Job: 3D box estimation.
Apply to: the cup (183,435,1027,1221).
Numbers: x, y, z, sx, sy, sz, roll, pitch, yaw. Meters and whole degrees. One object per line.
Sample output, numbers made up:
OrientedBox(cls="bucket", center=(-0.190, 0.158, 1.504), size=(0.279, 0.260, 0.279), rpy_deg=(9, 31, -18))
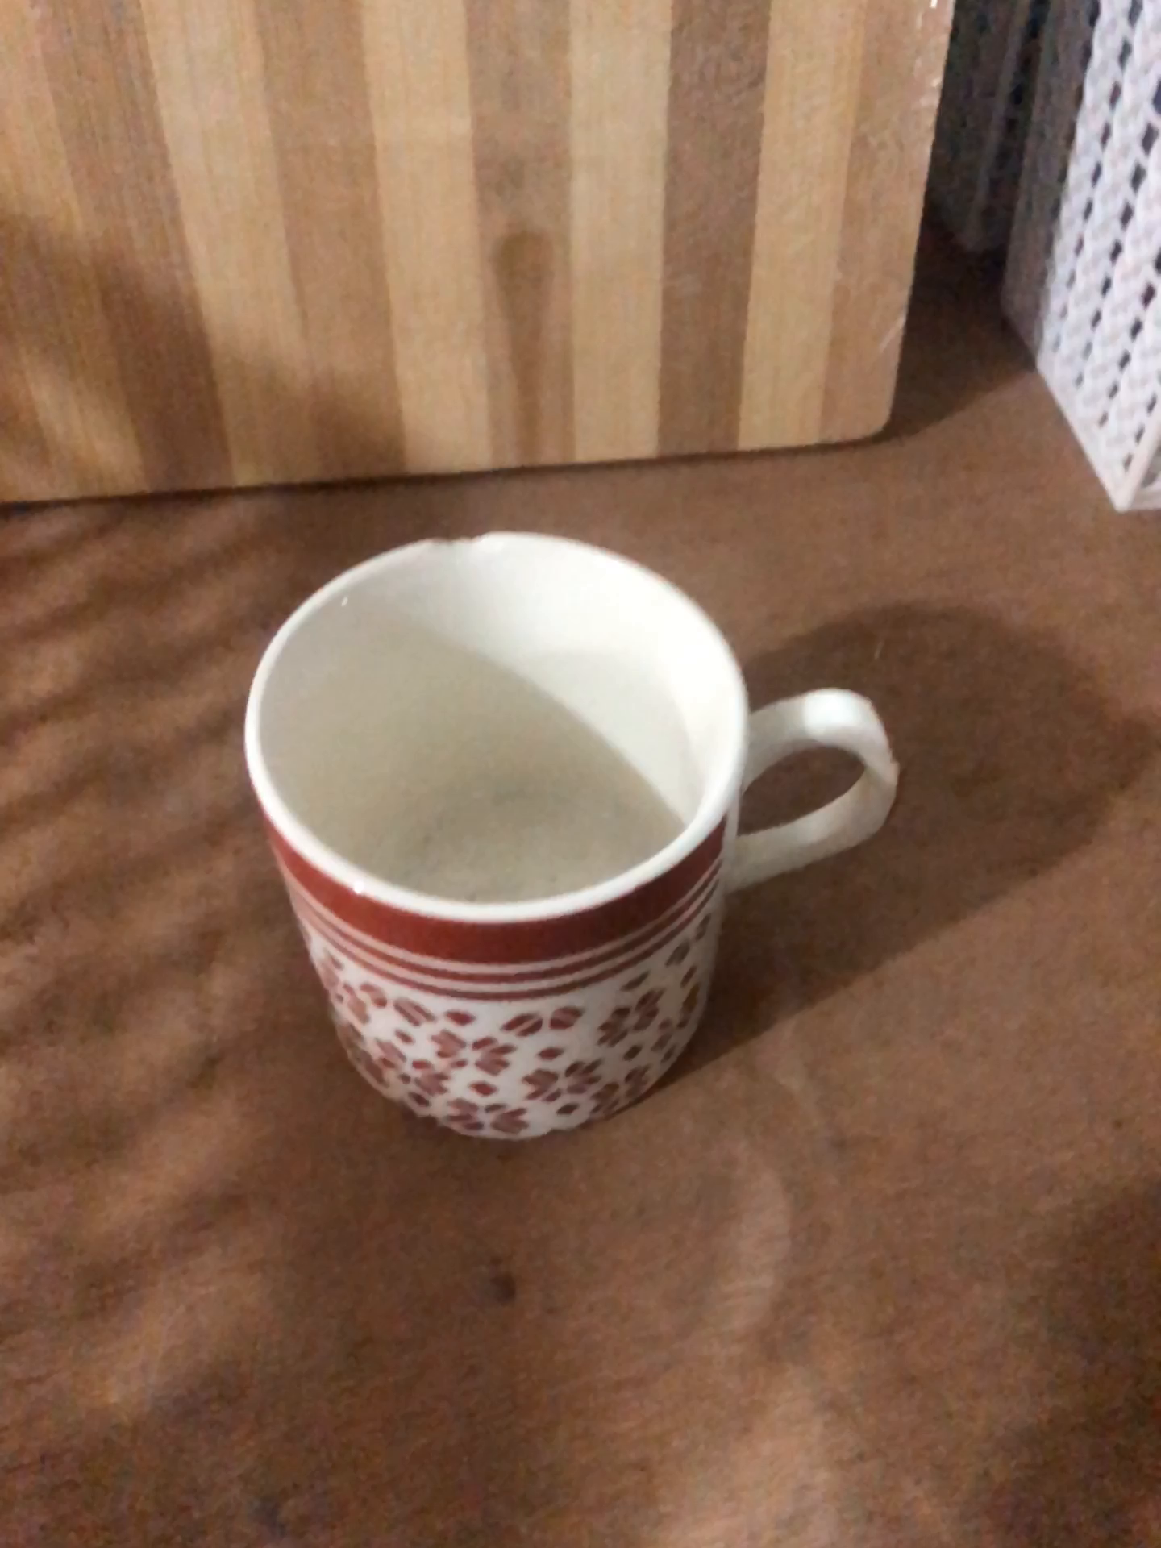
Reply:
OrientedBox(cls="cup", center=(-0.001, 0.008, 0.192), size=(0.090, 0.070, 0.070), rpy_deg=(-13, 55, -9))
